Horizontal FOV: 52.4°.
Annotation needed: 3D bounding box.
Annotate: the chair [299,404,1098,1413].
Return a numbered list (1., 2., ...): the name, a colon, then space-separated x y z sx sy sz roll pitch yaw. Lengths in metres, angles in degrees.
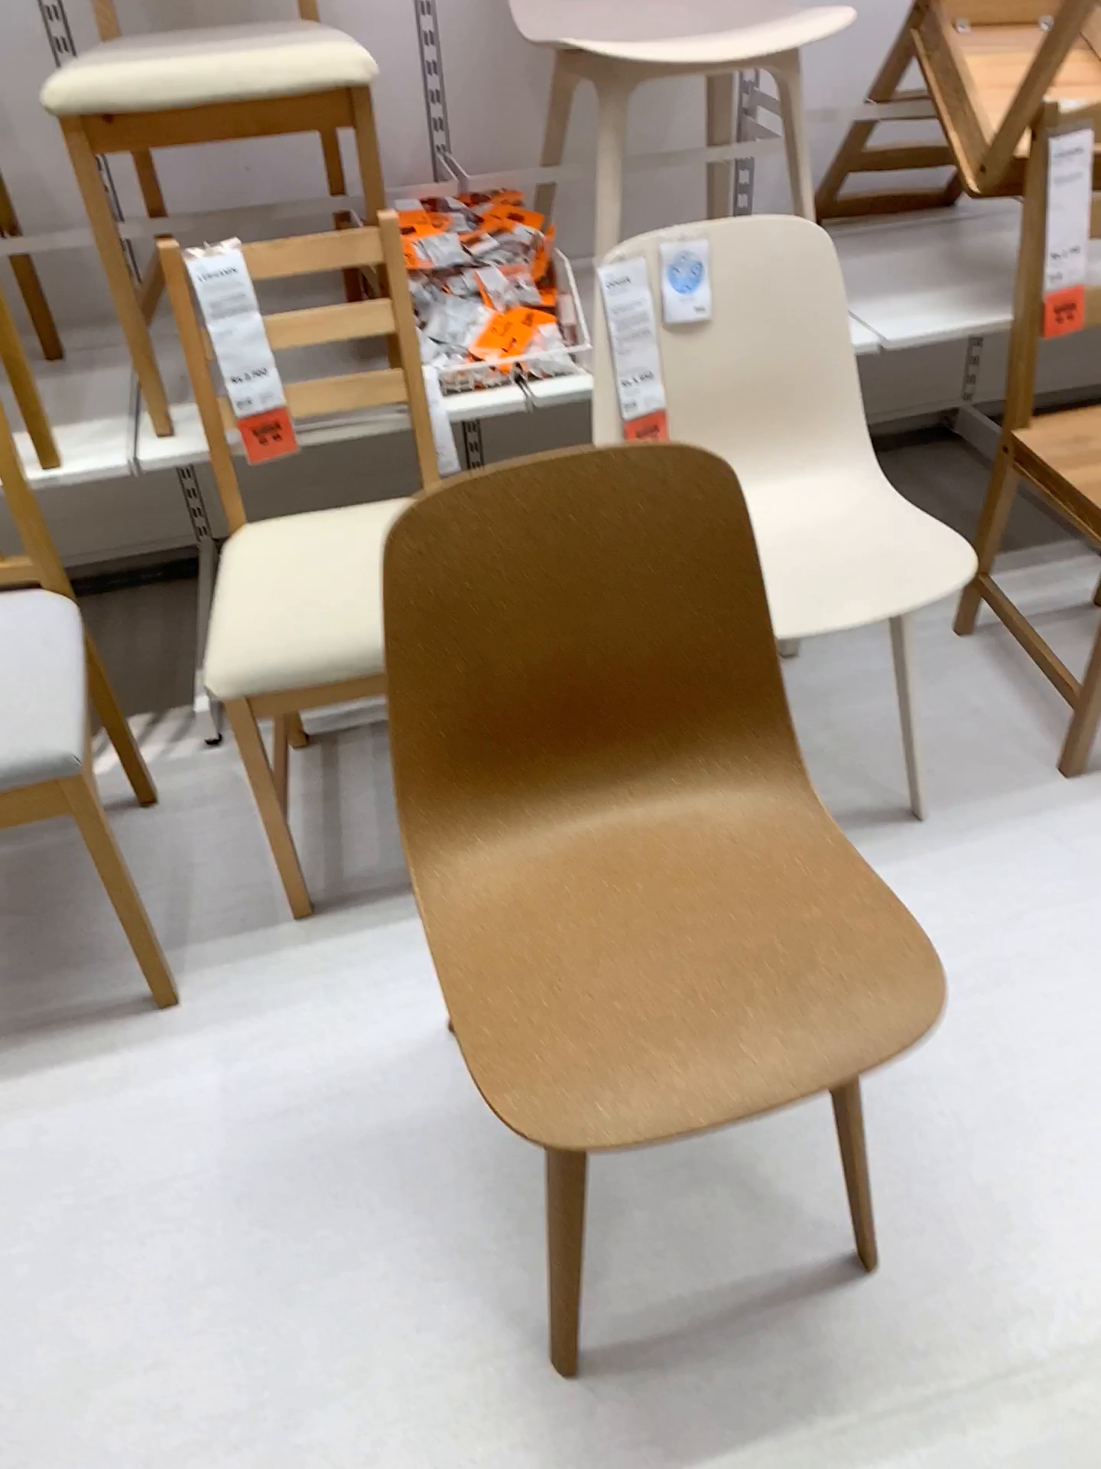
1. chair: 0.080 0.171 1.138 0.460 0.758 0.562 -13 40 -10
